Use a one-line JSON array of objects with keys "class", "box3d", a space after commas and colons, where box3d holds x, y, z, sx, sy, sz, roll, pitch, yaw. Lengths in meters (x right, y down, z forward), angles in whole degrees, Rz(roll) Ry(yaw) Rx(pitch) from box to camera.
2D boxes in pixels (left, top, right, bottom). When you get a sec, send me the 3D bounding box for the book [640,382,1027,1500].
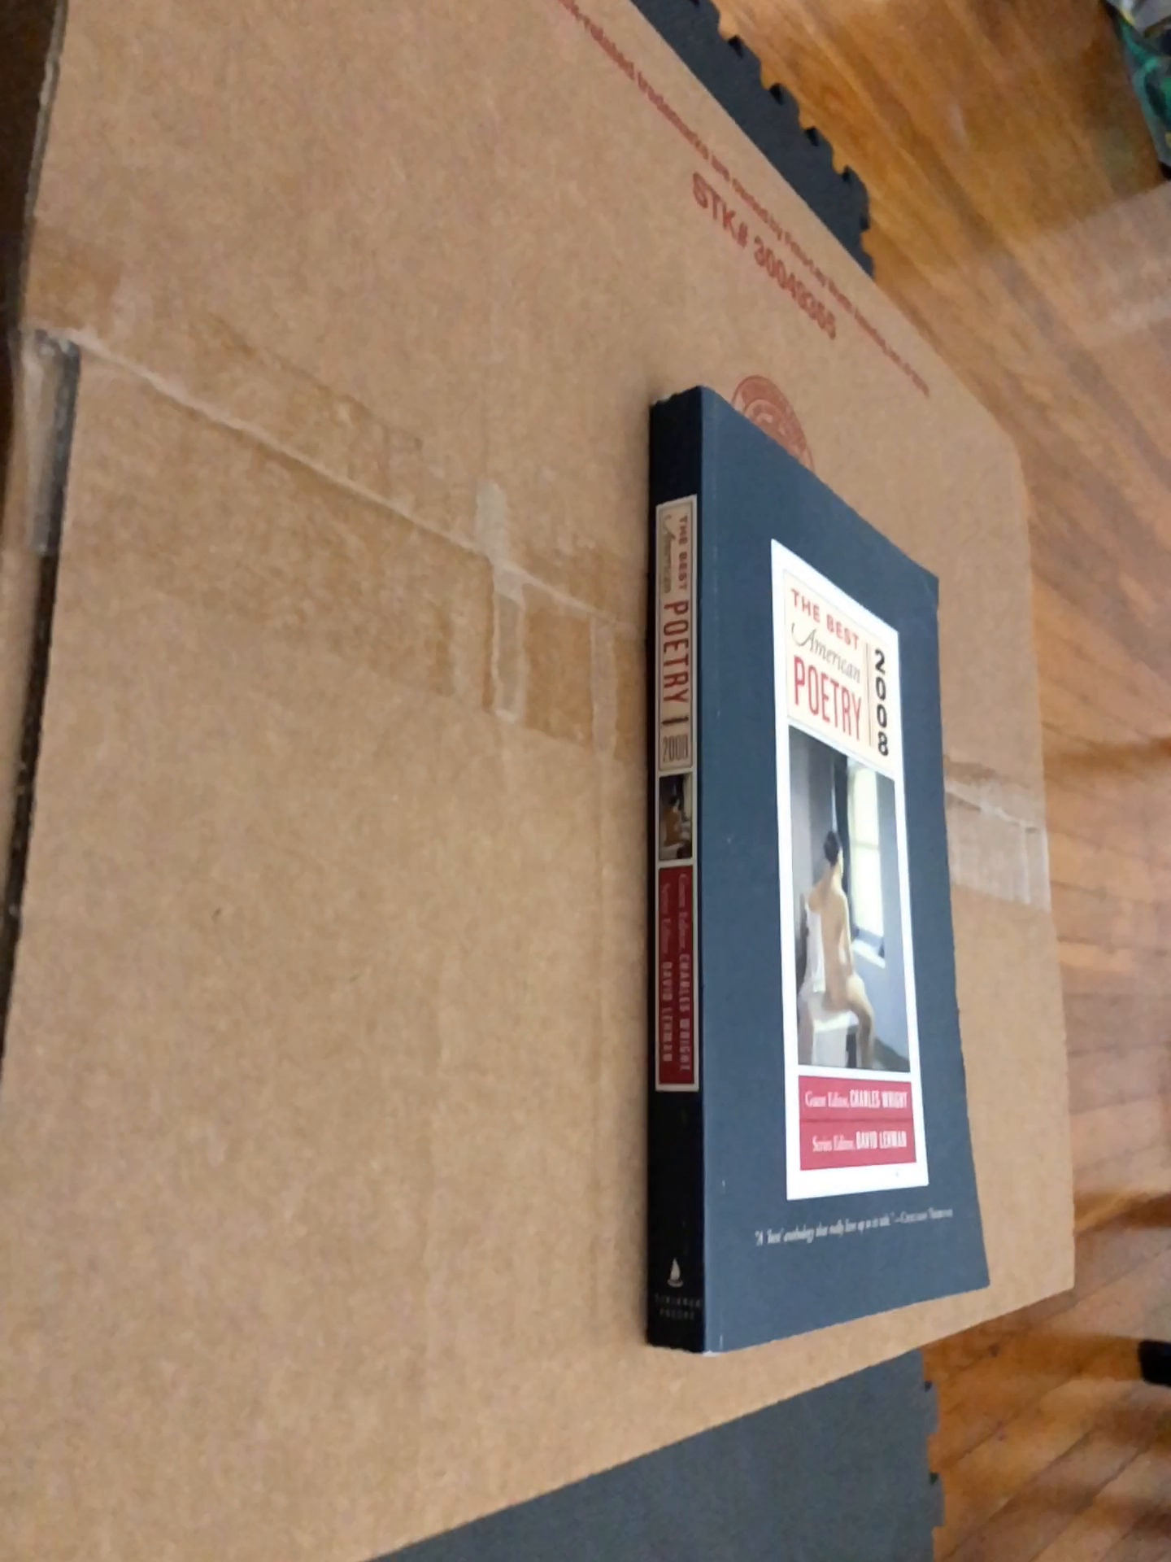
[{"class": "book", "box3d": [0.067, 0.036, 0.331, 0.151, 0.020, 0.230, 17, 68, -51]}]
